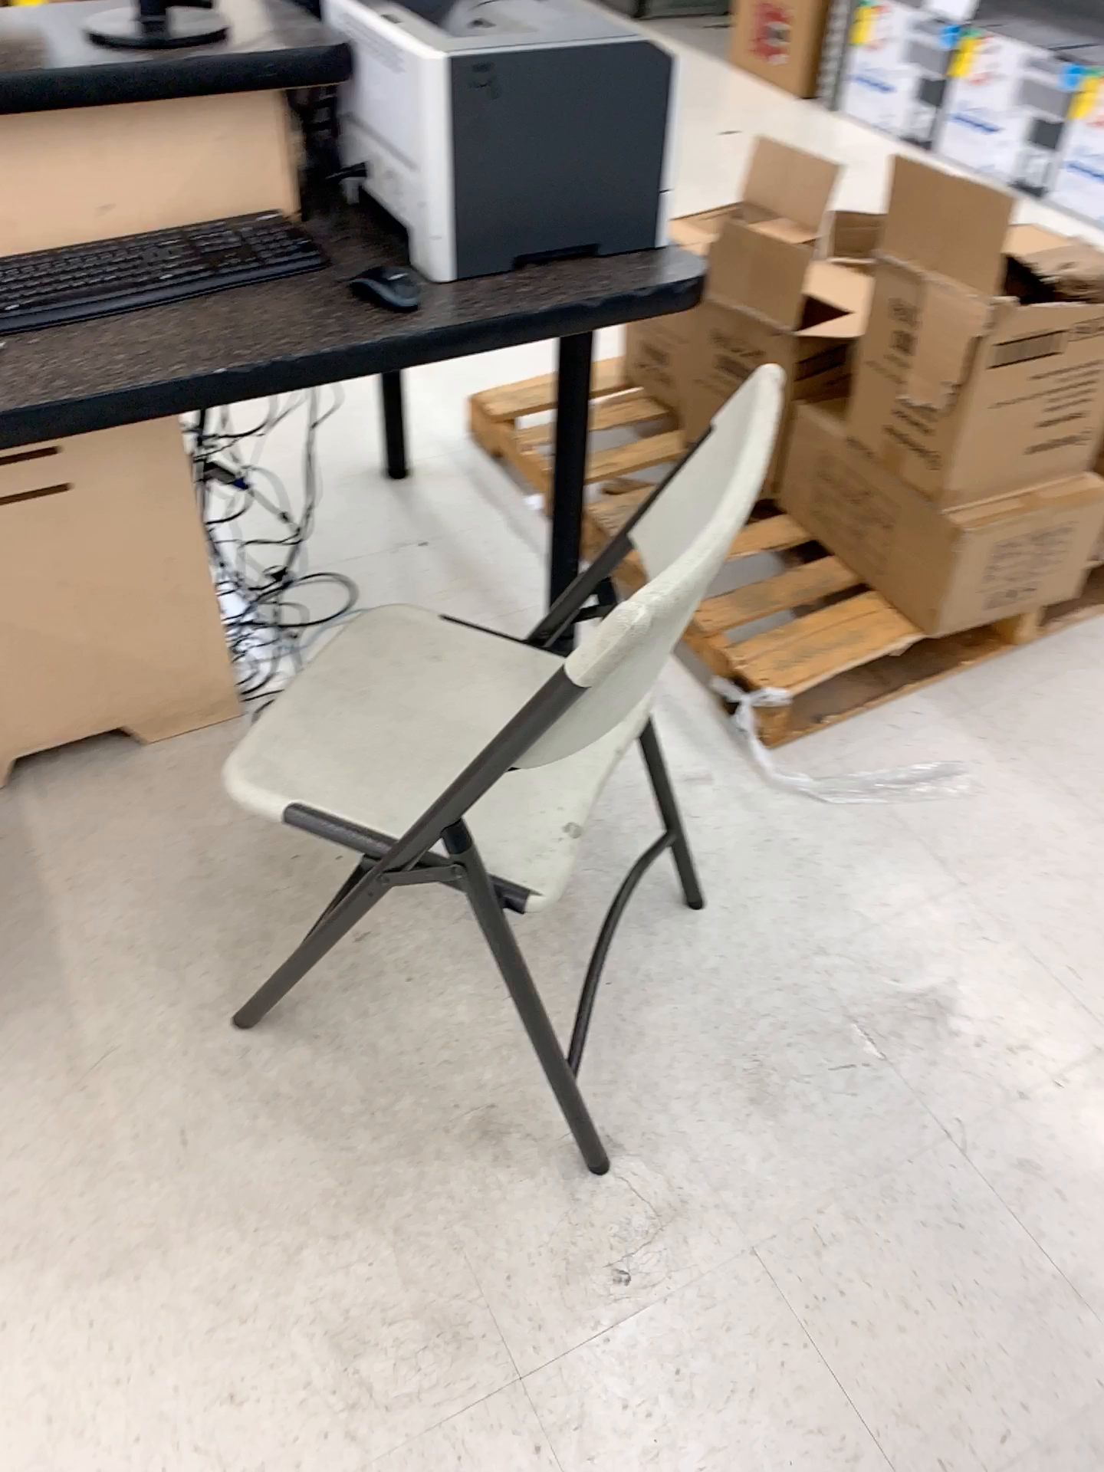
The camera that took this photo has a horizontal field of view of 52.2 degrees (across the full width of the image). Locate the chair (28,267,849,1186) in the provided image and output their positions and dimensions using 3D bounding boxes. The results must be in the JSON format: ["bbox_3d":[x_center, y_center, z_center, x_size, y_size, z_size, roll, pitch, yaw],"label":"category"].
[{"bbox_3d":[-0.073,-0.009,1.264,0.560,0.746,0.532,16,45,14],"label":"chair"}]
